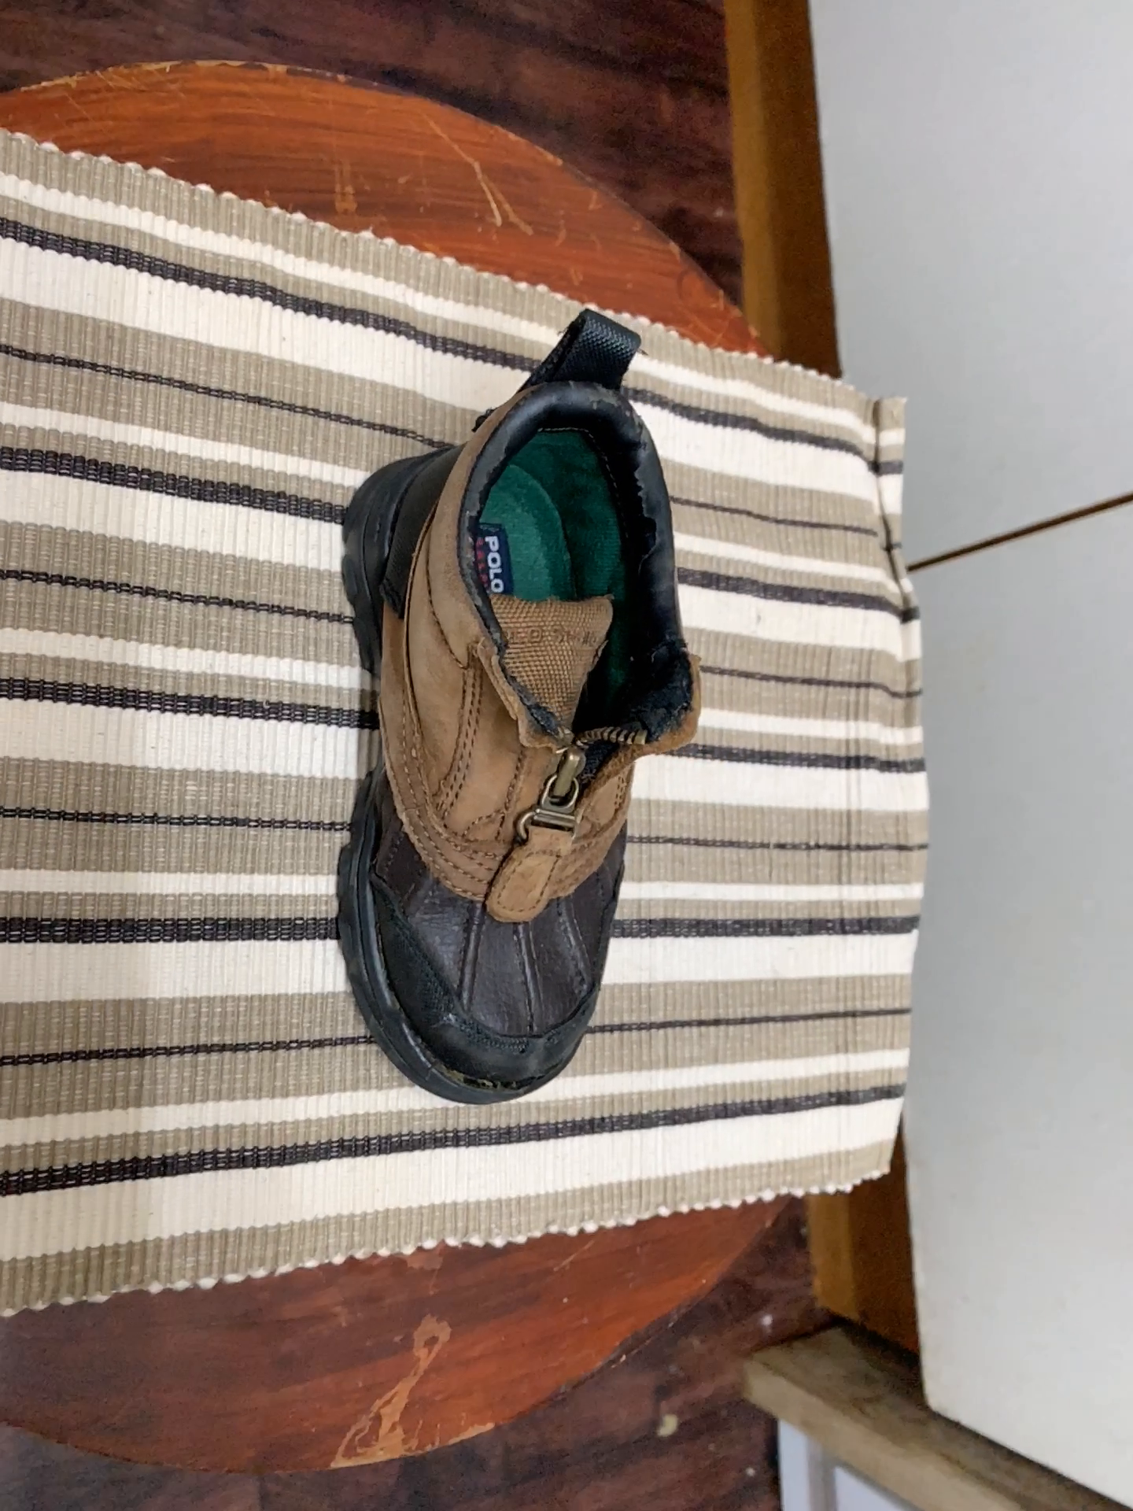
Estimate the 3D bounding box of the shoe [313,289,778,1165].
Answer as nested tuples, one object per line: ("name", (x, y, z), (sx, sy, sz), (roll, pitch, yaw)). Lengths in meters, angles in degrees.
("shoe", (-0.011, -0.004, 0.298), (0.080, 0.090, 0.180), (1, 84, -29))
